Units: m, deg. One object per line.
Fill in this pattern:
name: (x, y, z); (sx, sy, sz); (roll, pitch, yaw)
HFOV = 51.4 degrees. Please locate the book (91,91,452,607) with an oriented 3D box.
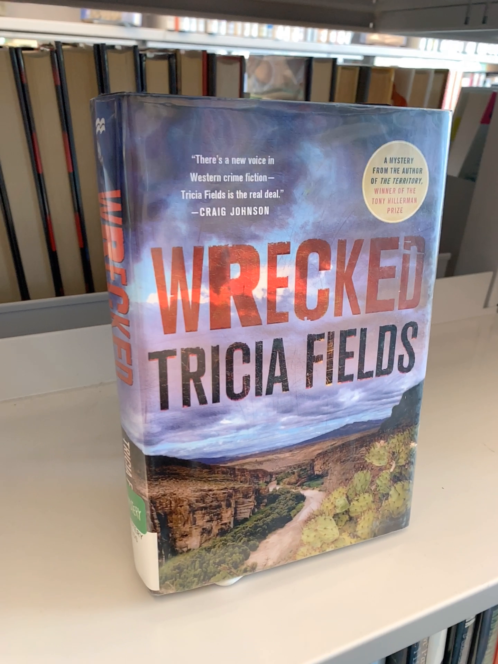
book: (0.014, 0.008, 0.243); (0.147, 0.213, 0.035); (-7, 18, -20)
